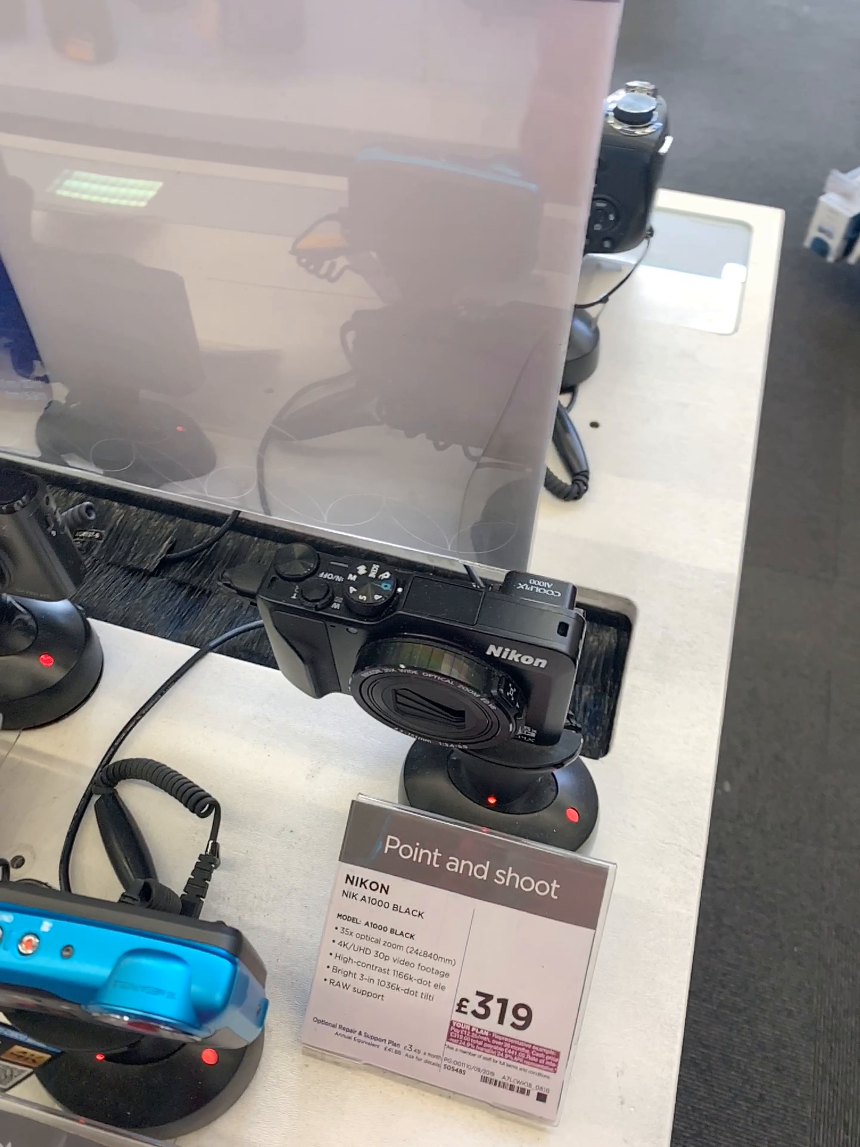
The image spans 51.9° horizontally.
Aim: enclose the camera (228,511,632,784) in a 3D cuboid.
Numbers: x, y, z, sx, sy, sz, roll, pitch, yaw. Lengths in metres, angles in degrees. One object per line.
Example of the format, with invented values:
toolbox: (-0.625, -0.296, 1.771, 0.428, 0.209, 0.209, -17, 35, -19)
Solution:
camera: (0.000, 0.028, 0.303, 0.120, 0.079, 0.030, 13, 55, 8)
